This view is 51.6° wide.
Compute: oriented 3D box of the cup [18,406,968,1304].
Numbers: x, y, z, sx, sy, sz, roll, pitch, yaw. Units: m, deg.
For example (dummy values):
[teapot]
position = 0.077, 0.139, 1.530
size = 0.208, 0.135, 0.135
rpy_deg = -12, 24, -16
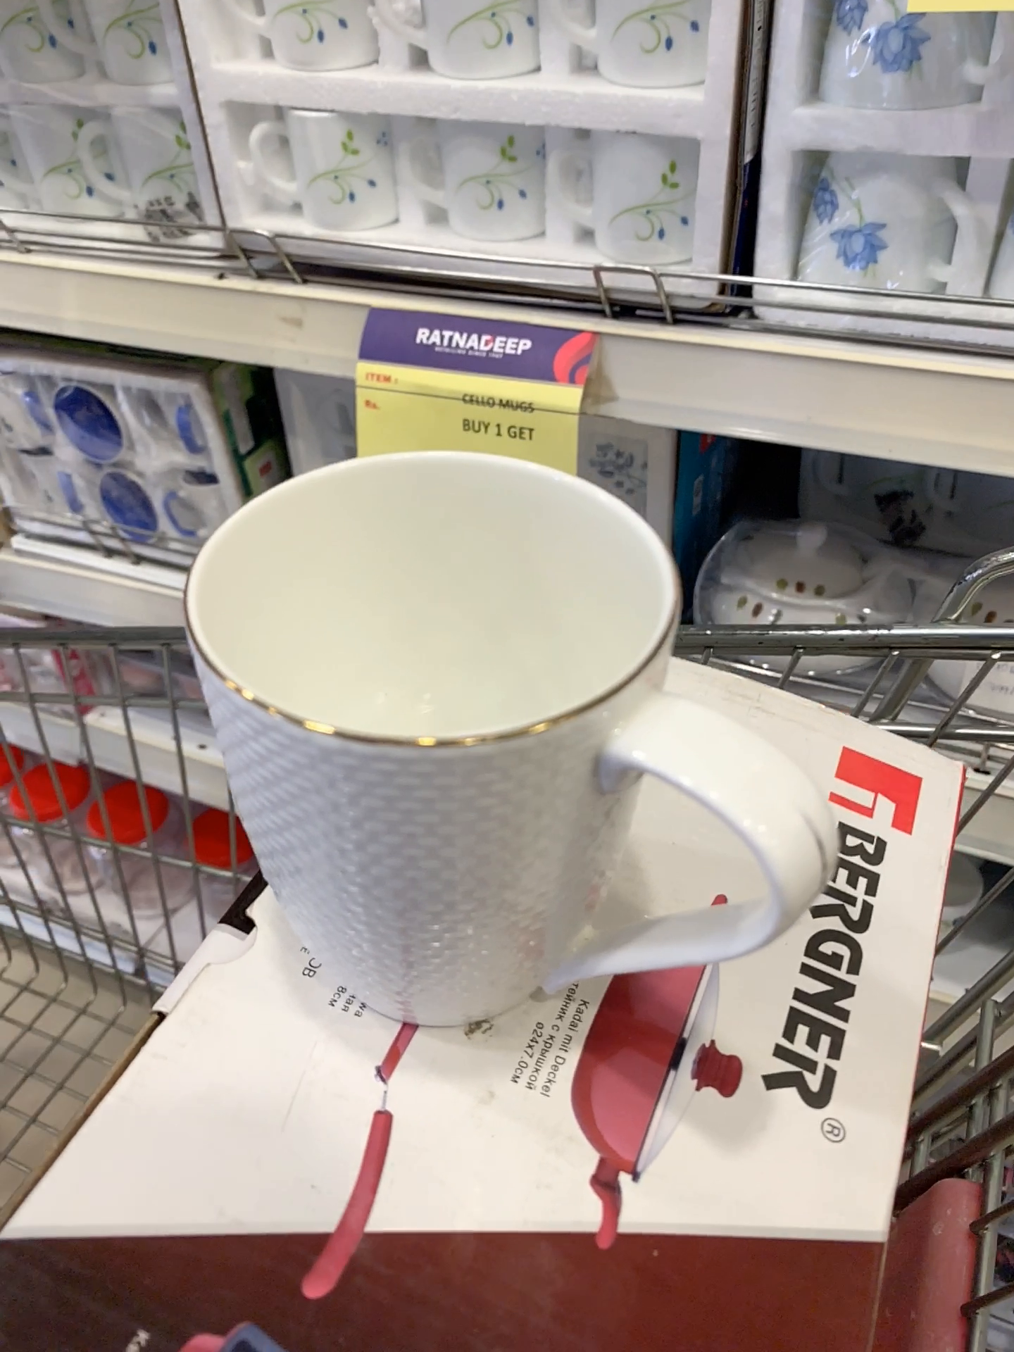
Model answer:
[cup]
position = -0.002, 0.020, 0.191
size = 0.120, 0.080, 0.090
rpy_deg = 25, 48, 28
